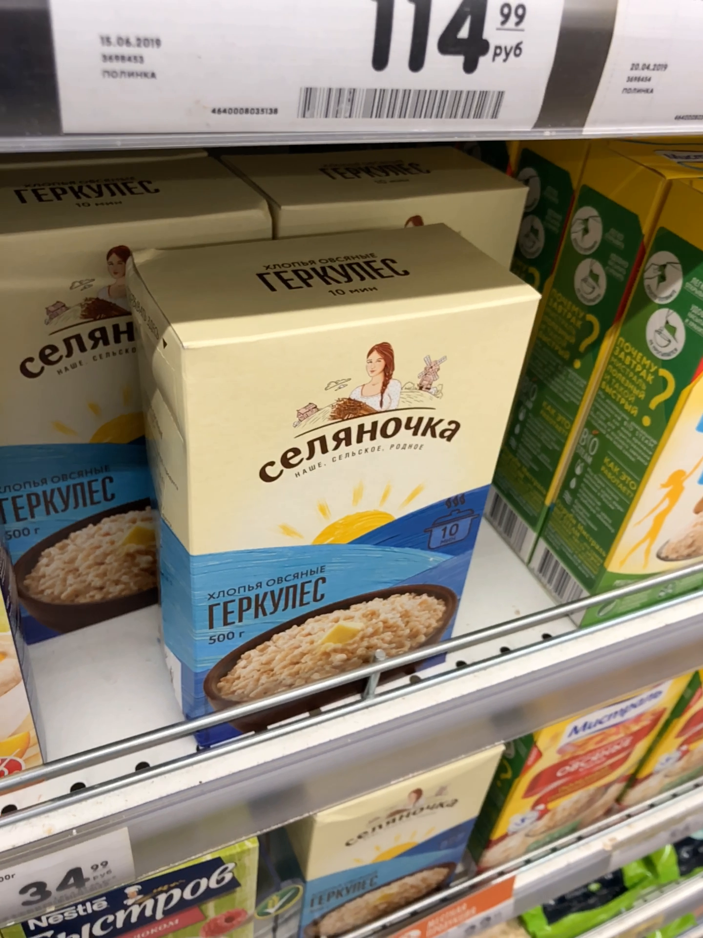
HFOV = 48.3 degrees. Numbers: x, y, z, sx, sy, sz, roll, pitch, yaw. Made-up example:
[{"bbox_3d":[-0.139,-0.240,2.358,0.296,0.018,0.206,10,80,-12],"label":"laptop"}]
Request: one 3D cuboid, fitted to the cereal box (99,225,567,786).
[{"bbox_3d":[-0.014,0.020,0.300,0.130,0.199,0.060,-12,42,-22],"label":"cereal box"}]
